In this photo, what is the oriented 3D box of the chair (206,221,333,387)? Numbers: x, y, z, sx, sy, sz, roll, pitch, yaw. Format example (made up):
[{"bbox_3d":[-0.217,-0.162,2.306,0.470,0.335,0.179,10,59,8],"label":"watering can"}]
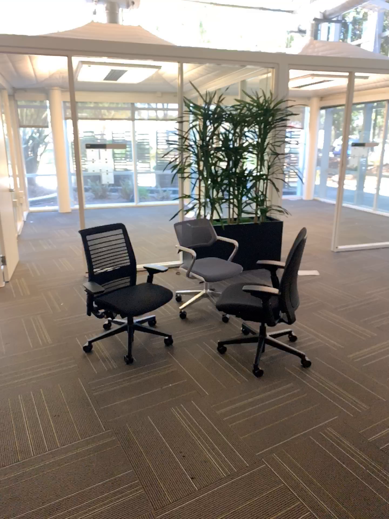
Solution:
[{"bbox_3d":[0.561,0.255,2.976,0.761,0.886,0.853,5,17,14],"label":"chair"}]

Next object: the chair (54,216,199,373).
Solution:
[{"bbox_3d":[-0.508,0.196,3.140,0.722,0.886,0.811,14,22,40],"label":"chair"}]

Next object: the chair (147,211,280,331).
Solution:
[{"bbox_3d":[0.156,0.039,3.835,0.840,0.797,0.924,-12,20,-35],"label":"chair"}]
